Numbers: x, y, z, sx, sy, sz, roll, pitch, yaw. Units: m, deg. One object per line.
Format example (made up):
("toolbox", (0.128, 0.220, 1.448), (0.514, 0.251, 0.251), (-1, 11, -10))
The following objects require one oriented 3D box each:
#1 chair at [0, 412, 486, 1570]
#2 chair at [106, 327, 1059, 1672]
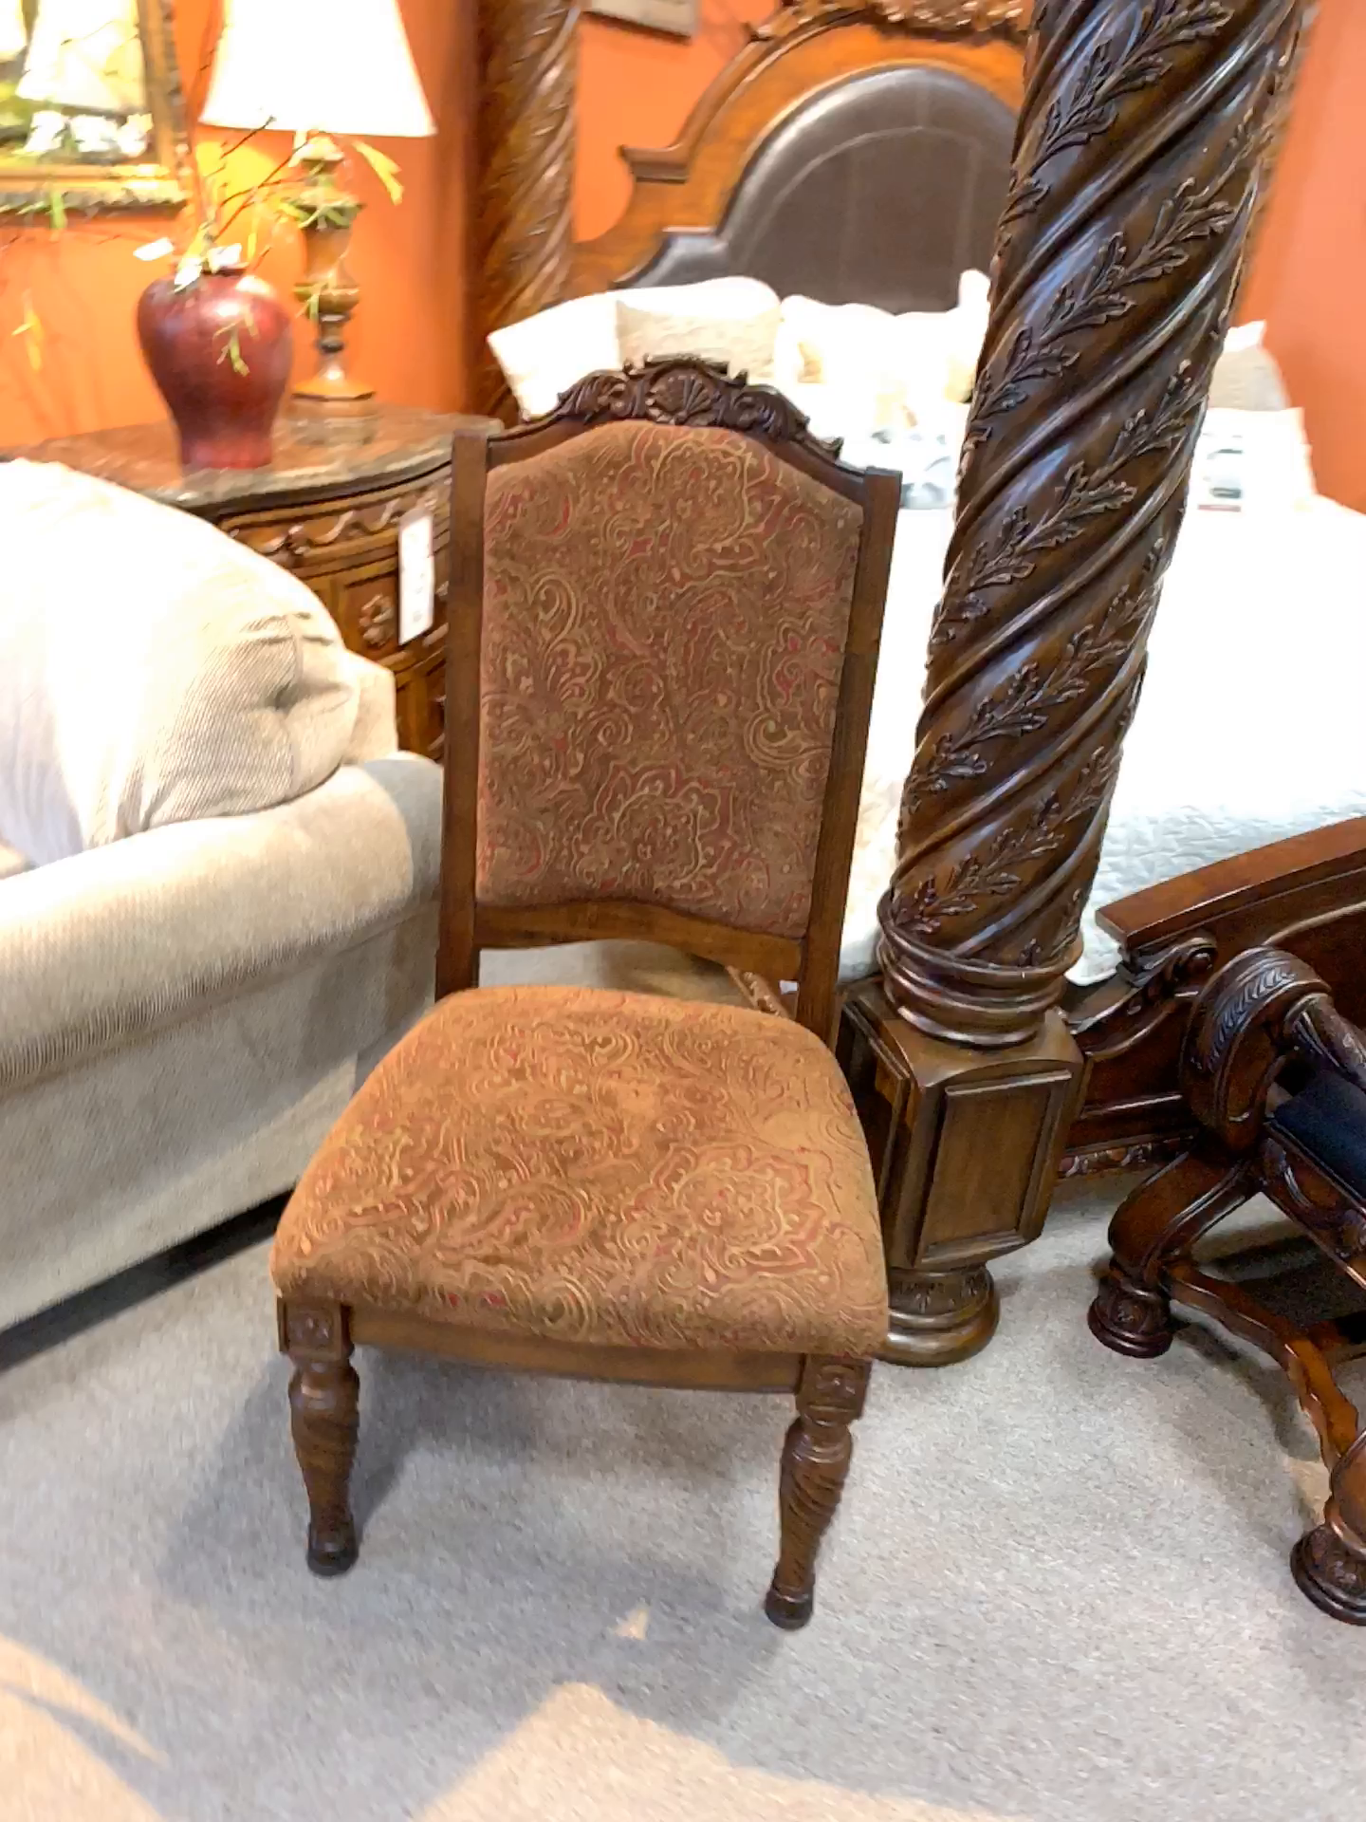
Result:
("chair", (-0.873, -0.044, 1.707), (0.882, 0.865, 0.900), (28, 37, 36))
("chair", (-0.073, 0.078, 1.408), (0.590, 1.123, 0.640), (6, 29, 3))
